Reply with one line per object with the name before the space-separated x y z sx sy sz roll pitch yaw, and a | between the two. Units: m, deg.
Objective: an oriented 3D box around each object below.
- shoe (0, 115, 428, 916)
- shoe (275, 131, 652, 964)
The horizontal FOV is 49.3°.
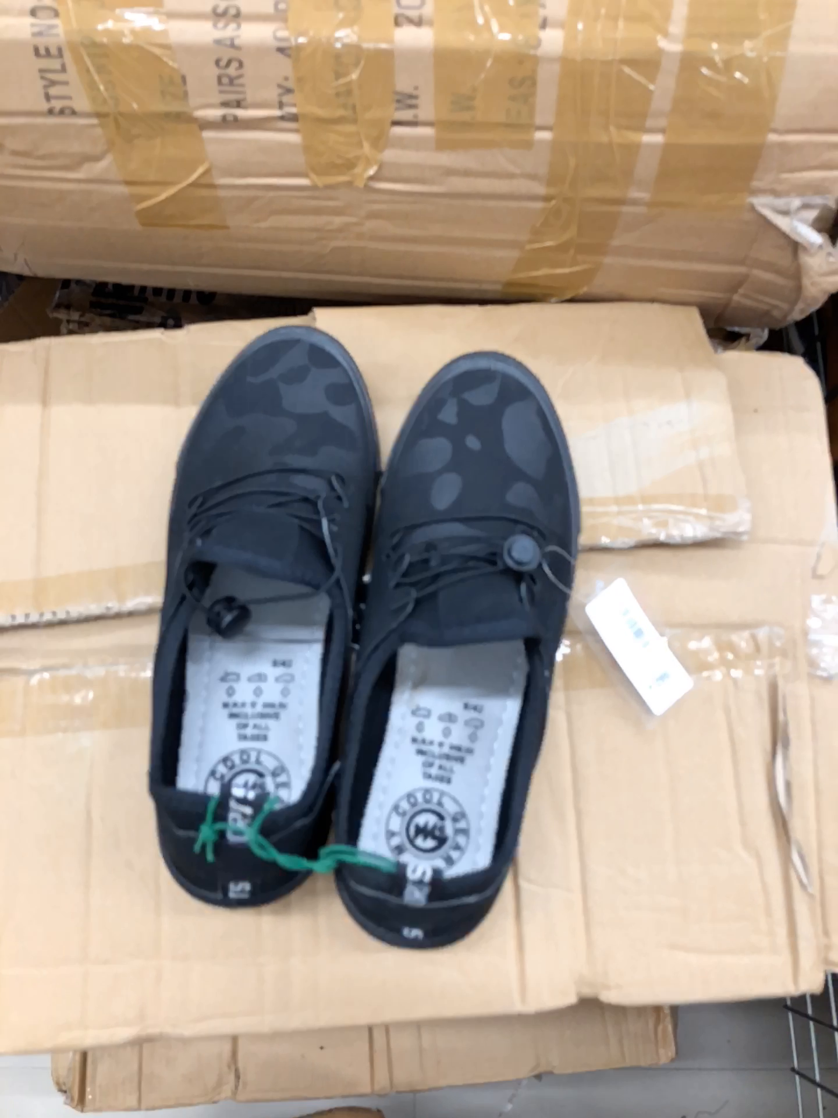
shoe | -0.068 -0.017 0.403 0.120 0.130 0.311 4 72 -1
shoe | 0.025 -0.007 0.406 0.120 0.130 0.321 5 72 0
